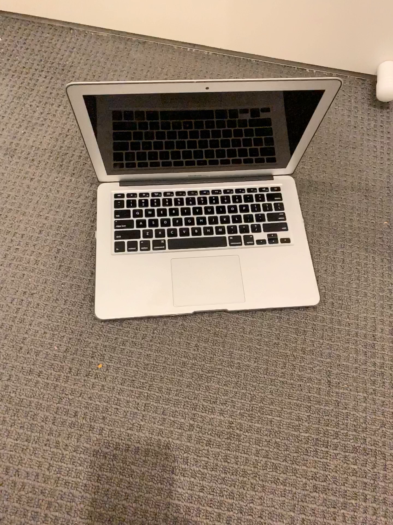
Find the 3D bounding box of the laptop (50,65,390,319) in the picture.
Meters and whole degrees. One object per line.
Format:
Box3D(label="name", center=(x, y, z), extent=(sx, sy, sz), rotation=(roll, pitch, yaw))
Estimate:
Box3D(label="laptop", center=(0.013, -0.079, 0.521), extent=(0.322, 0.215, 0.226), rotation=(-3, 65, -4))
